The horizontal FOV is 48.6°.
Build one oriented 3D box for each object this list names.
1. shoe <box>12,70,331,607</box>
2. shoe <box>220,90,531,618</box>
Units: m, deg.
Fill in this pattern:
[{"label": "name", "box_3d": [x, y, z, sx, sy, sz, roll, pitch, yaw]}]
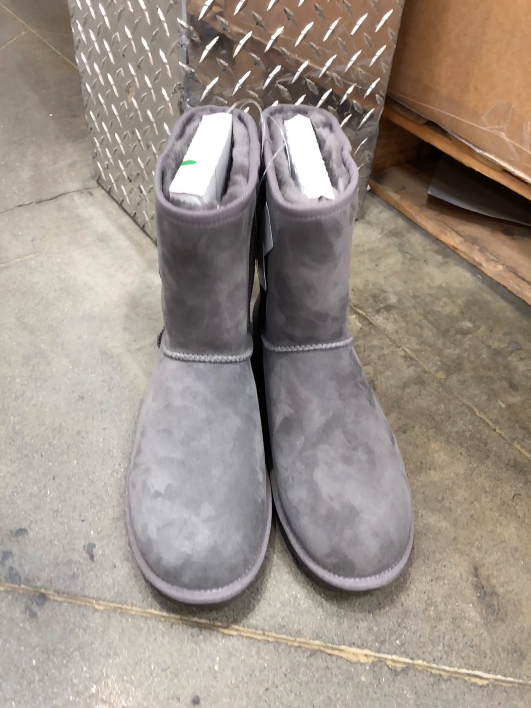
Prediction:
[{"label": "shoe", "box_3d": [-0.046, -0.017, 0.406, 0.120, 0.239, 0.281, 1, 44, -4]}, {"label": "shoe", "box_3d": [0.042, -0.009, 0.411, 0.110, 0.239, 0.271, -5, 45, -10]}]
